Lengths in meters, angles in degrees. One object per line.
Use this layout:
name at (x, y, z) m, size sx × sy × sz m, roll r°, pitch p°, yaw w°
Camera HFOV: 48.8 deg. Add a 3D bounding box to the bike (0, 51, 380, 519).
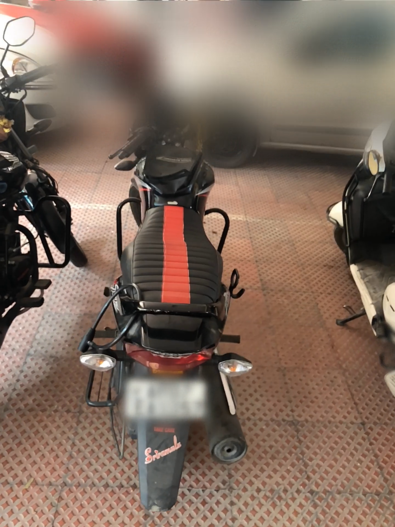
bike at (-0.233, -0.084, 1.681) m, size 0.746 × 1.010 × 1.562 m, roll -1°, pitch 35°, yaw -11°
